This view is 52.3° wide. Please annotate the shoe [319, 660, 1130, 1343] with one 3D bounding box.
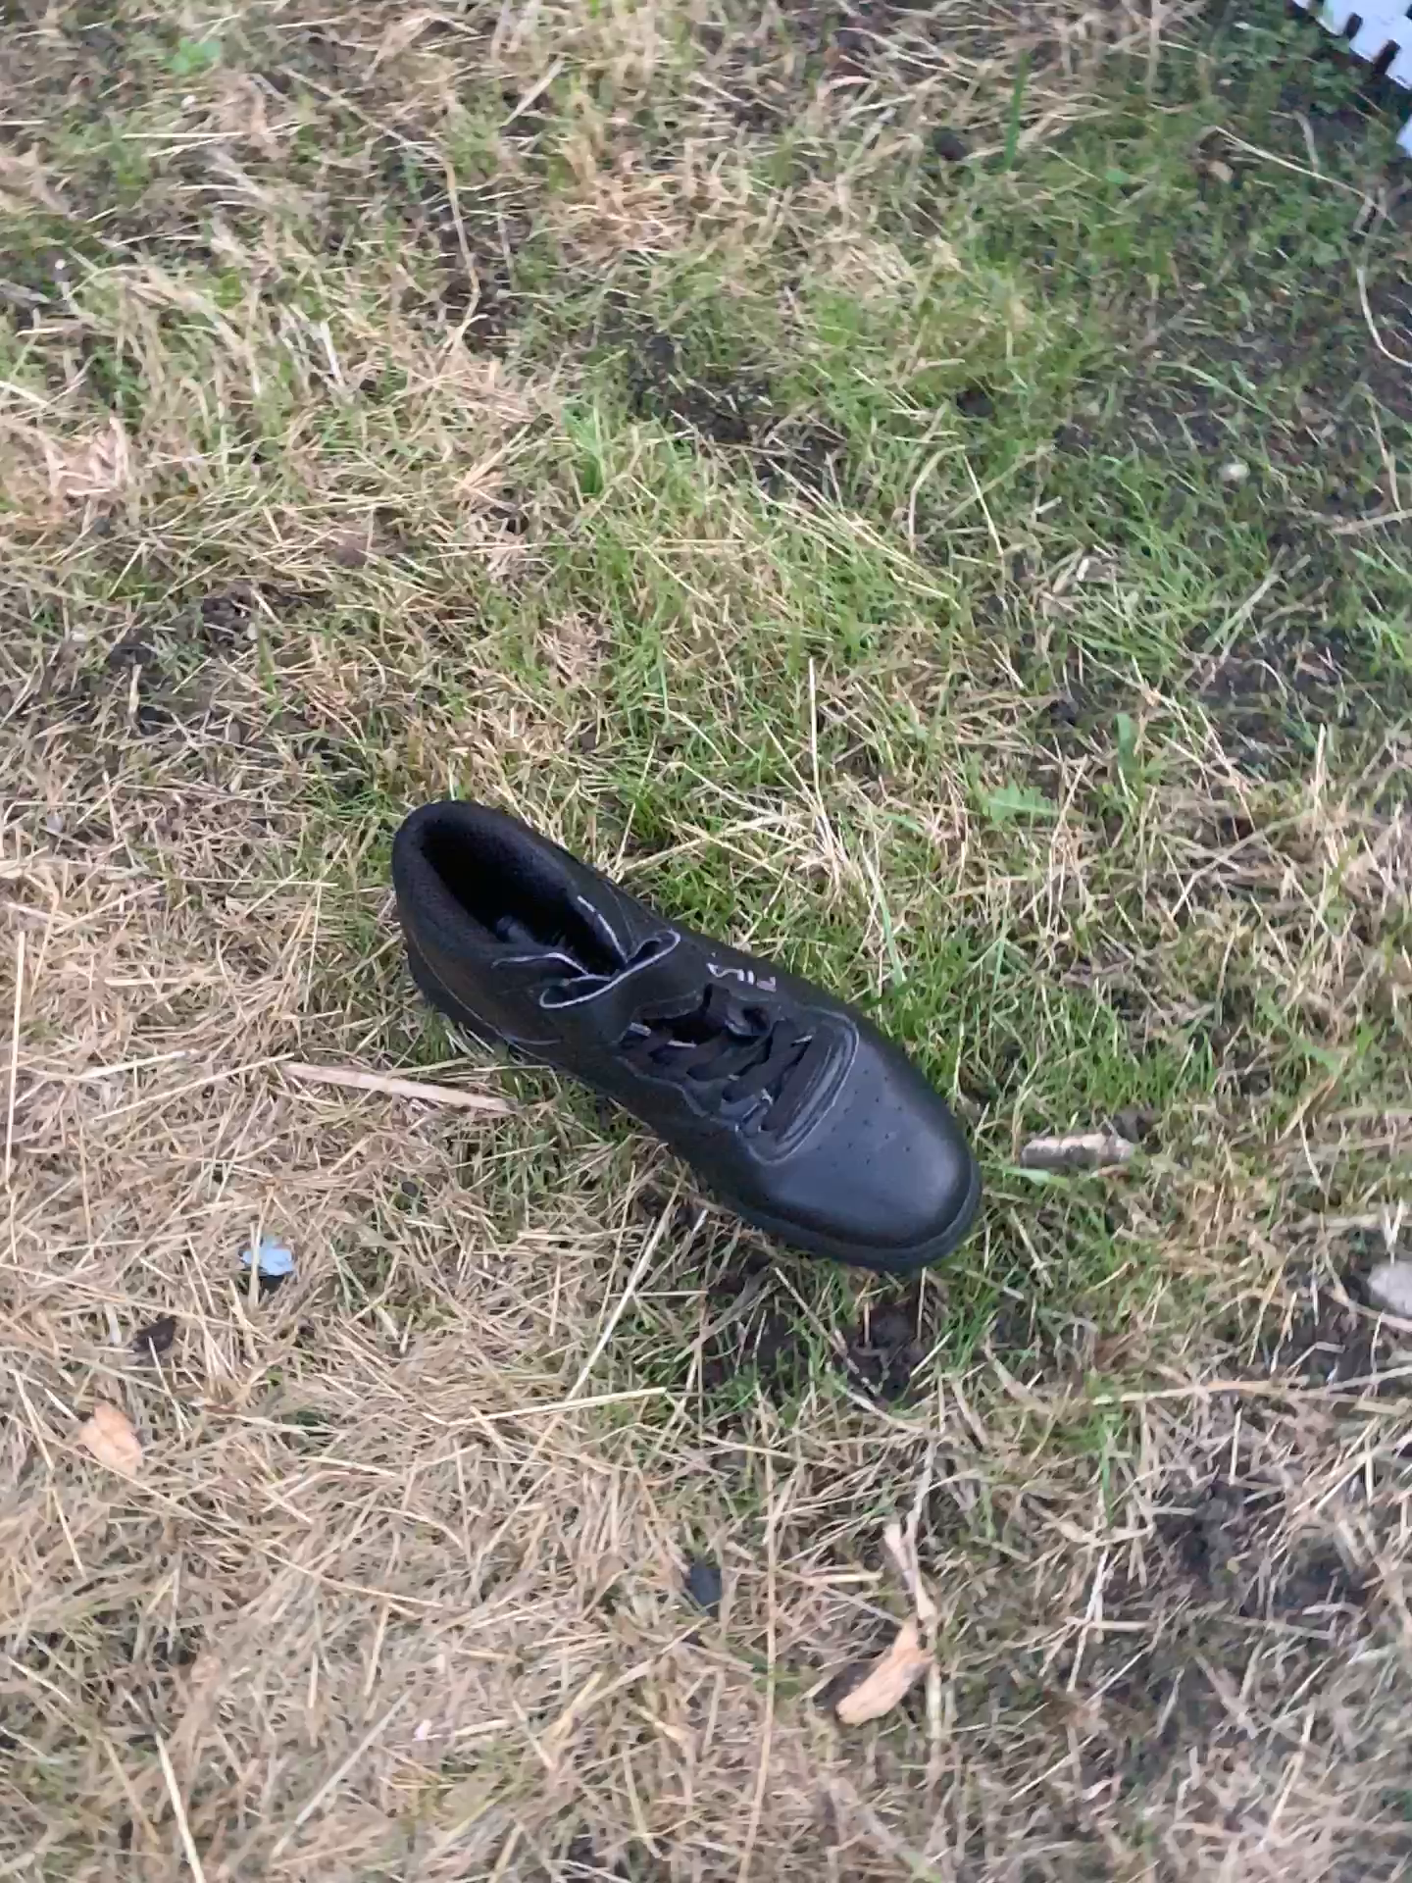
[{"bbox_3d":[0.001,0.028,0.549,0.260,0.139,0.100,30,66,9],"label":"shoe"}]
